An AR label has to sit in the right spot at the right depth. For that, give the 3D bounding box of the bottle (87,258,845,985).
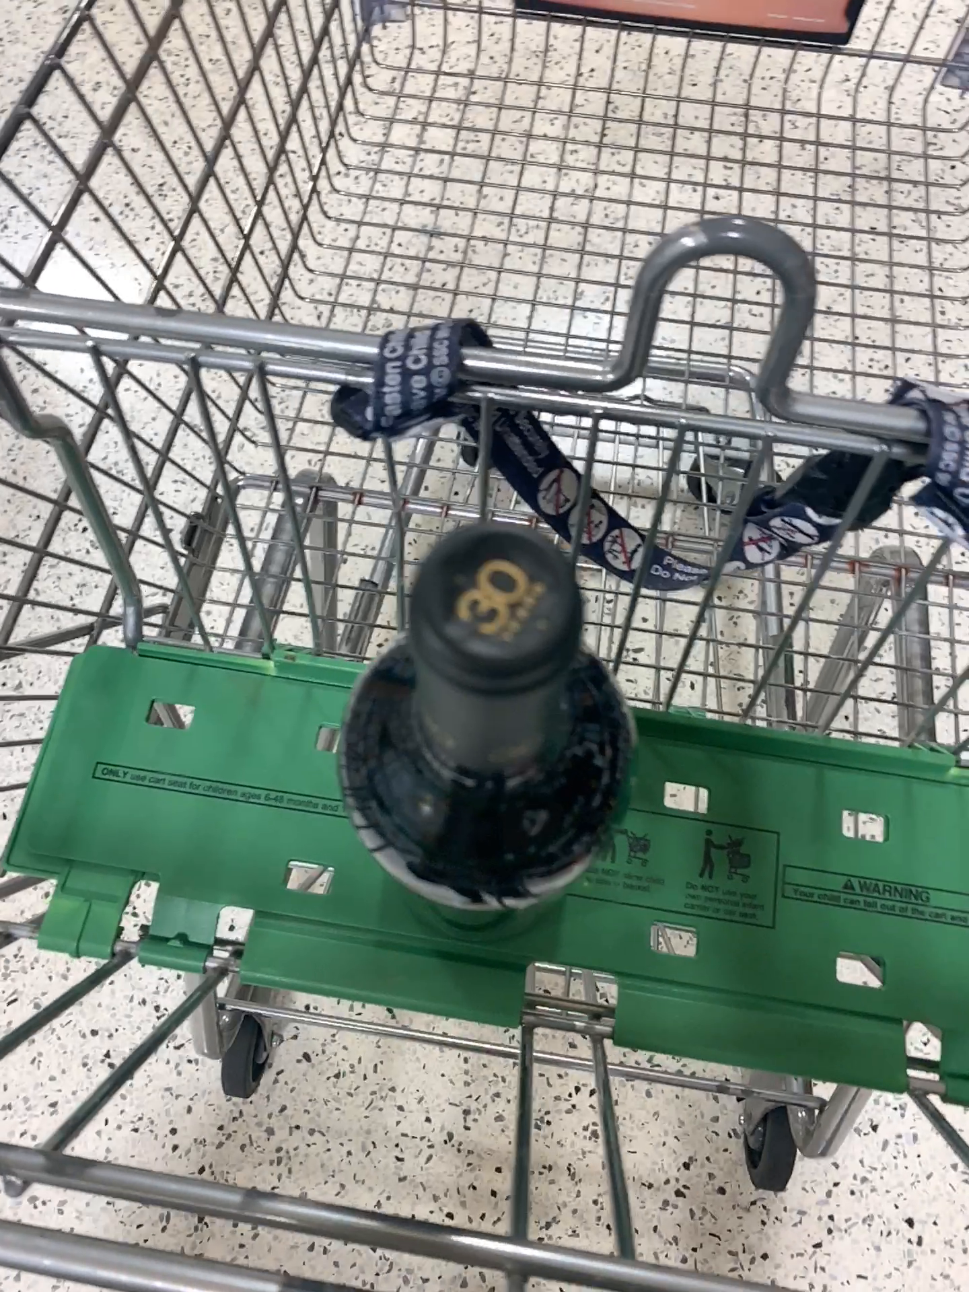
[{"bbox_3d":[-0.003,0.038,0.284,0.080,0.299,0.080,0,71,0],"label":"bottle"}]
